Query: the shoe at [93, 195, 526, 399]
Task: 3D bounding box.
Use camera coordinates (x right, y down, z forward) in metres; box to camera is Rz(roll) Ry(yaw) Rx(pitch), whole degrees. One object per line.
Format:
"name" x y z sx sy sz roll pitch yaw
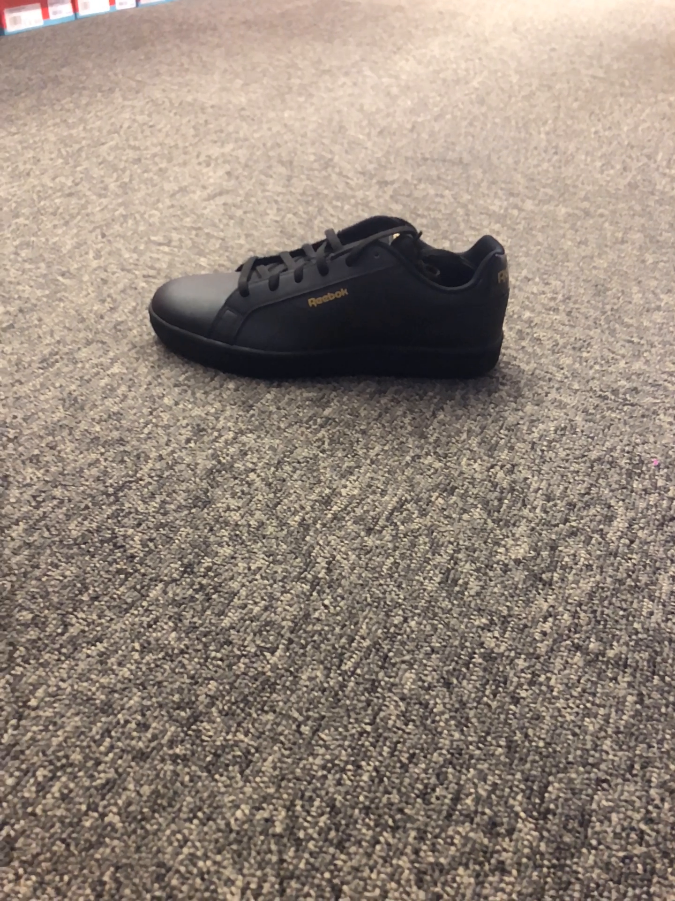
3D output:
"shoe" -0.014 -0.108 0.509 0.260 0.089 0.099 4 38 5
